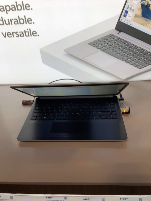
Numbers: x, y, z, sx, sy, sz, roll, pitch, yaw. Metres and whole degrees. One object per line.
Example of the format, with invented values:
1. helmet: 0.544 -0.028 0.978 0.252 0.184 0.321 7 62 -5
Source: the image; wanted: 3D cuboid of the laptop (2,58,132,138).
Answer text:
1. laptop: -0.013 -0.016 0.522 0.302 0.155 0.226 -2 32 7
